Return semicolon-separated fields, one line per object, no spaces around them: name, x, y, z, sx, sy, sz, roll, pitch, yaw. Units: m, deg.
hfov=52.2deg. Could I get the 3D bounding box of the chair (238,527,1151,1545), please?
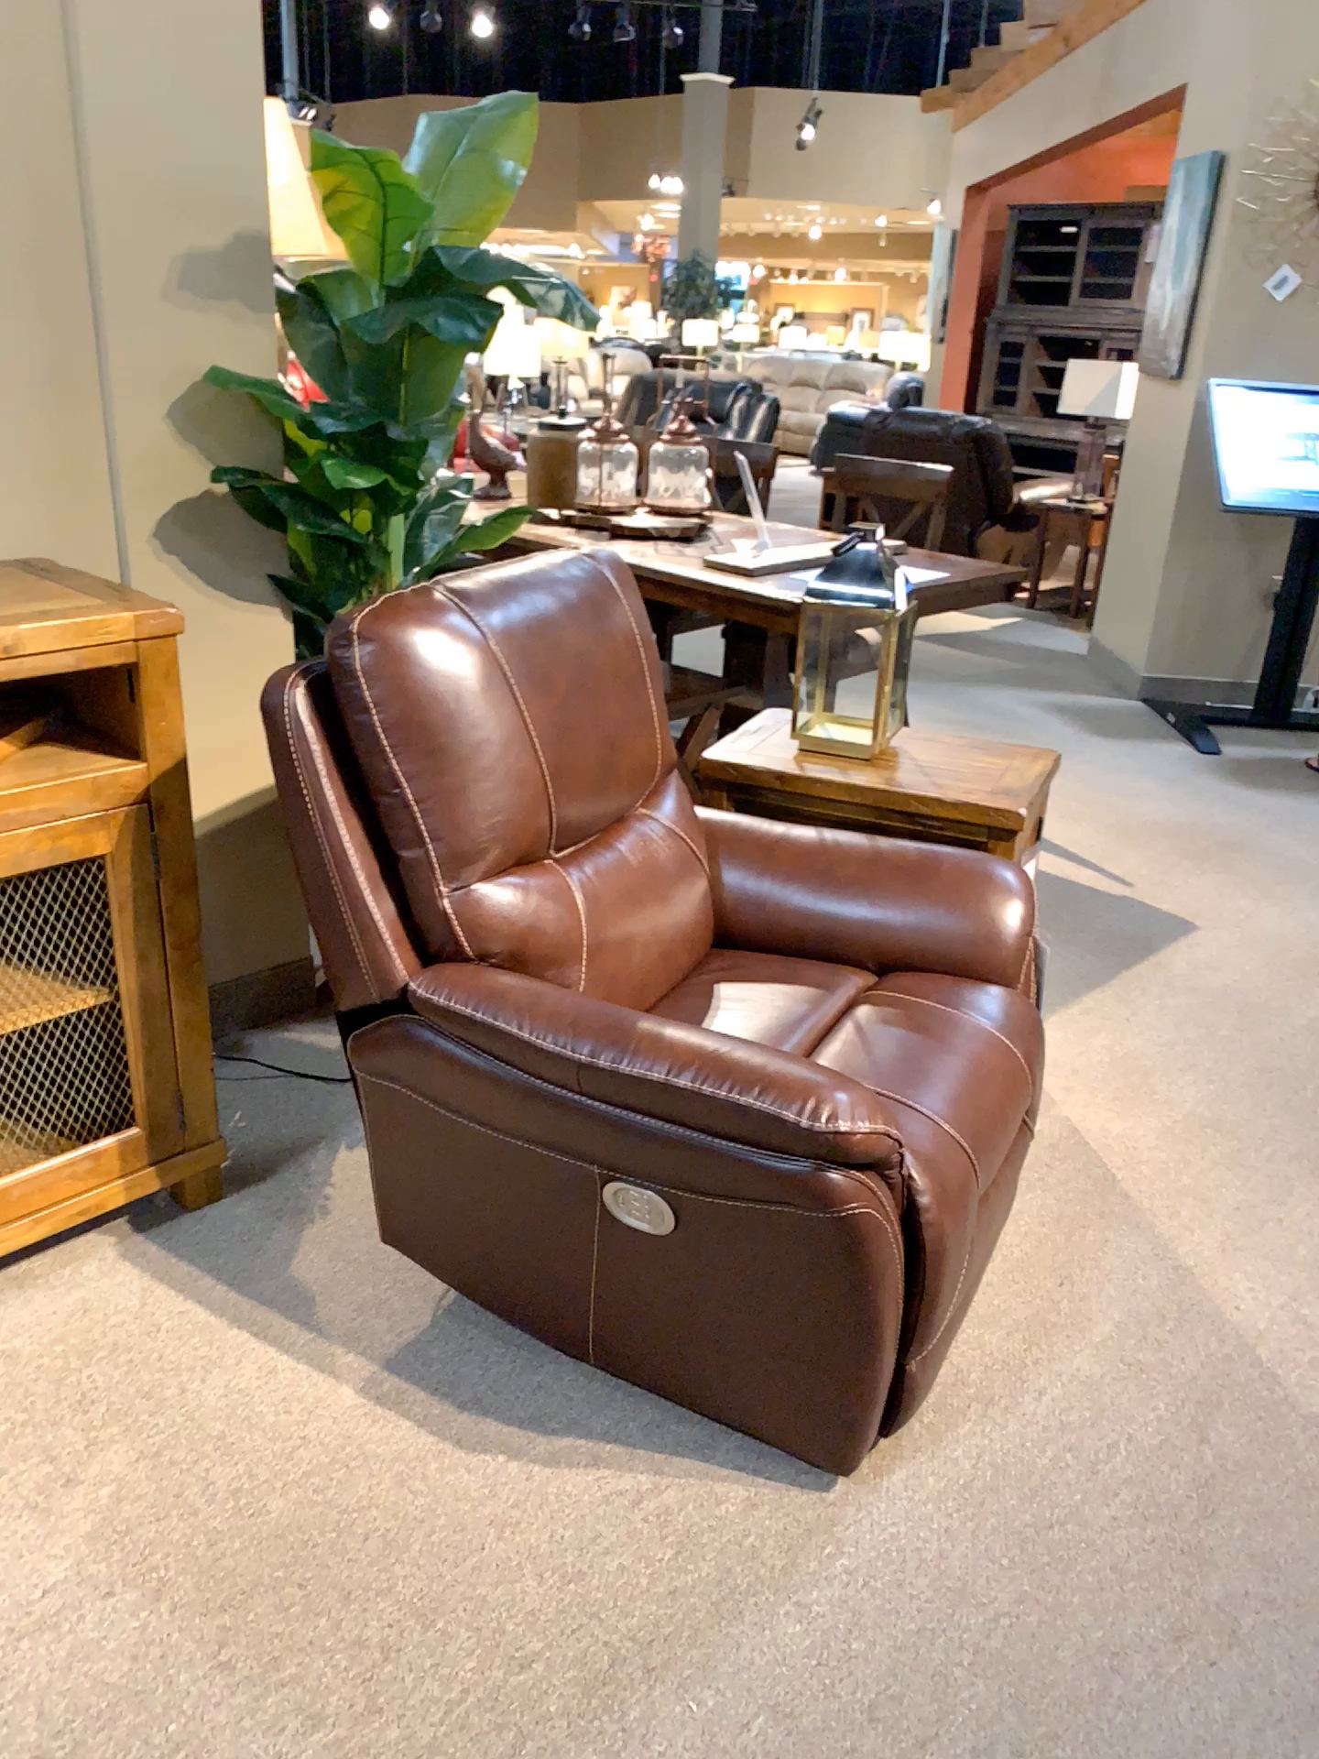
chair;0.082;0.090;1.919;0.913;0.975;0.851;13;24;23
